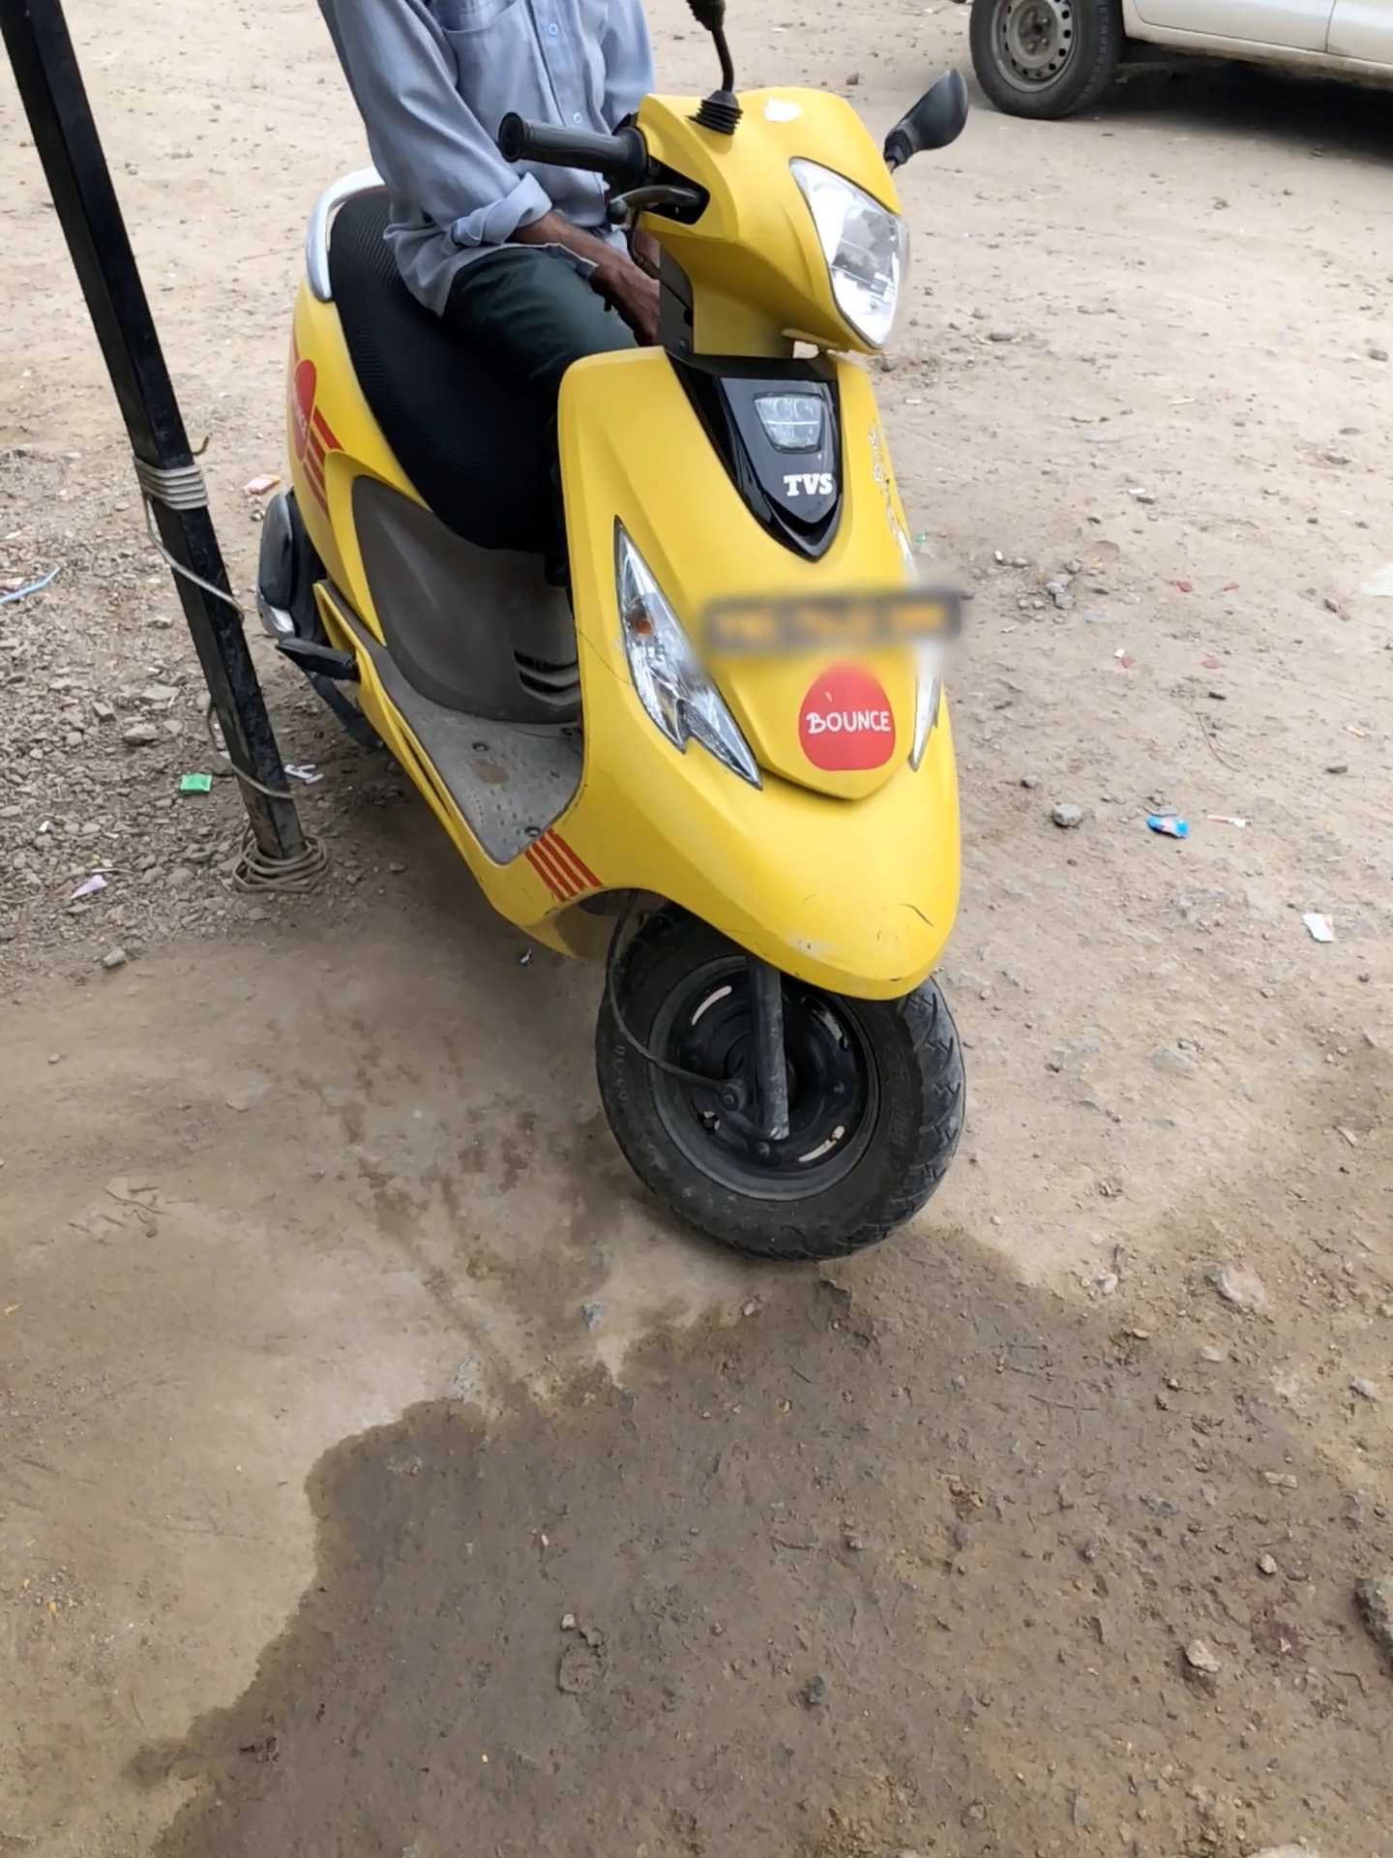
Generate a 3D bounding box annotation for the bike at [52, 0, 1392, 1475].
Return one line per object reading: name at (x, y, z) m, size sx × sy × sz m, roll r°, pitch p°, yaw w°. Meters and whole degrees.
bike at (-0.113, -0.476, 2.055) m, size 0.891 × 1.161 × 1.659 m, roll -18°, pitch 44°, yaw -20°
